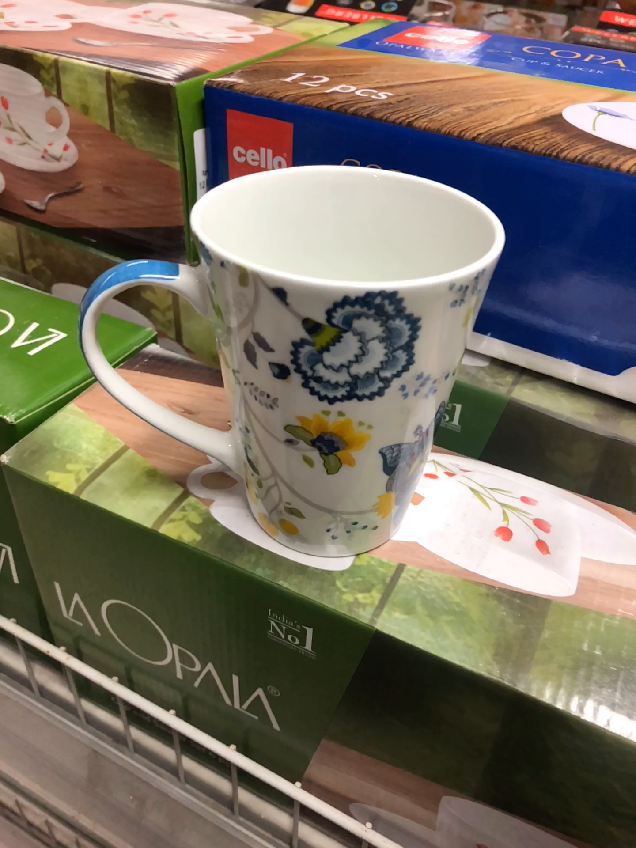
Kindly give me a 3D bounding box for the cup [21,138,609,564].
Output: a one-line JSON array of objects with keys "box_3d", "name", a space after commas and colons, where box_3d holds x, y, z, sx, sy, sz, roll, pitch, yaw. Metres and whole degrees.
[{"box_3d": [-0.001, -0.019, 0.185, 0.110, 0.079, 0.070, 3, 41, 0], "name": "cup"}]
